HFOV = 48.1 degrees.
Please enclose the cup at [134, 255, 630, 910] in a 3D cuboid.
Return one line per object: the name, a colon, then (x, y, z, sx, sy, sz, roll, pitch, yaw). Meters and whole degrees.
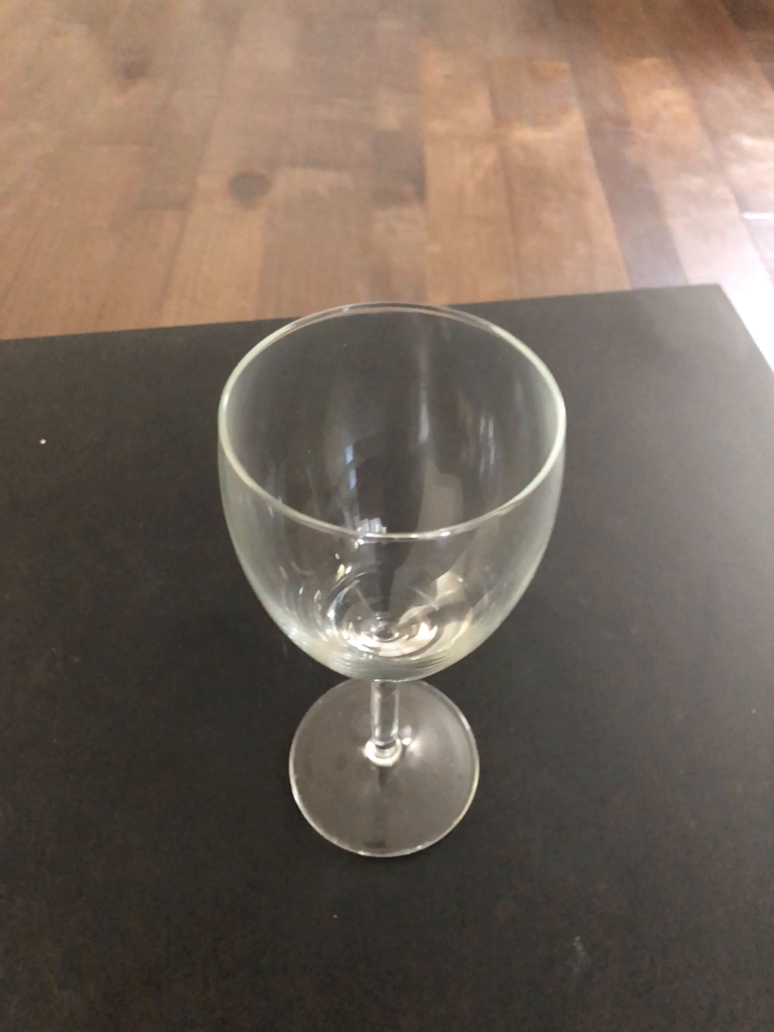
cup: (-0.006, 0.032, 0.248, 0.080, 0.179, 0.080, 1, 50, -1)
